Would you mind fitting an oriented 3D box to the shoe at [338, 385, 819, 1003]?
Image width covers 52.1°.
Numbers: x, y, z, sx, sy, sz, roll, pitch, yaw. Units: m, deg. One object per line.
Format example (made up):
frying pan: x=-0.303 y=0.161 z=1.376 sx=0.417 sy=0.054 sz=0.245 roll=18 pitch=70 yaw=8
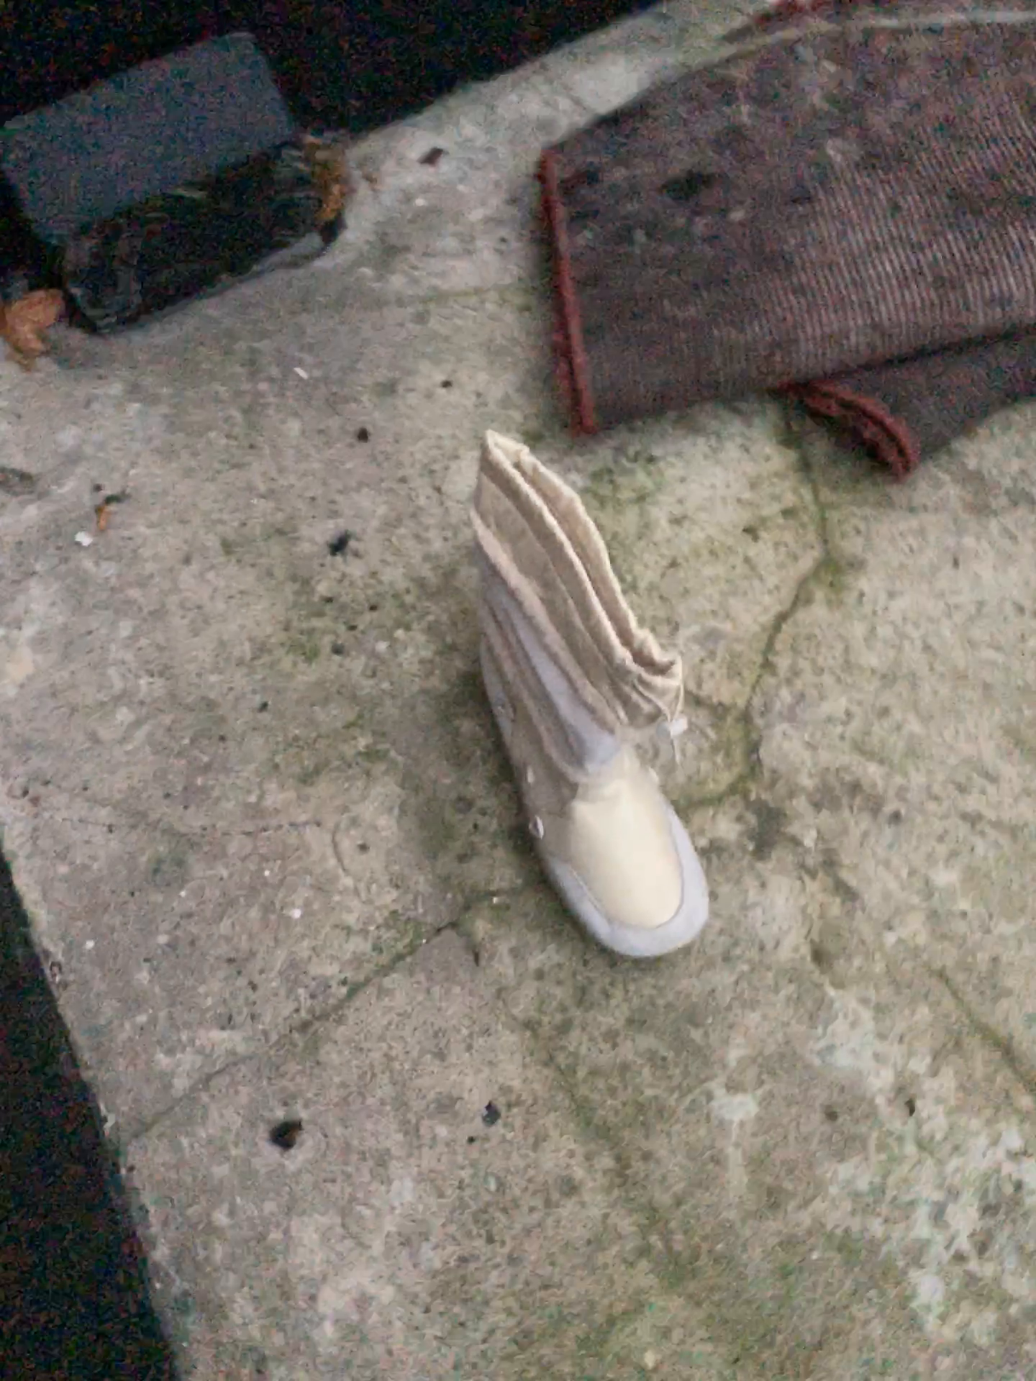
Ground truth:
shoe: x=0.030 y=0.028 z=0.641 sx=0.110 sy=0.299 sz=0.271 roll=-28 pitch=70 yaw=-6
